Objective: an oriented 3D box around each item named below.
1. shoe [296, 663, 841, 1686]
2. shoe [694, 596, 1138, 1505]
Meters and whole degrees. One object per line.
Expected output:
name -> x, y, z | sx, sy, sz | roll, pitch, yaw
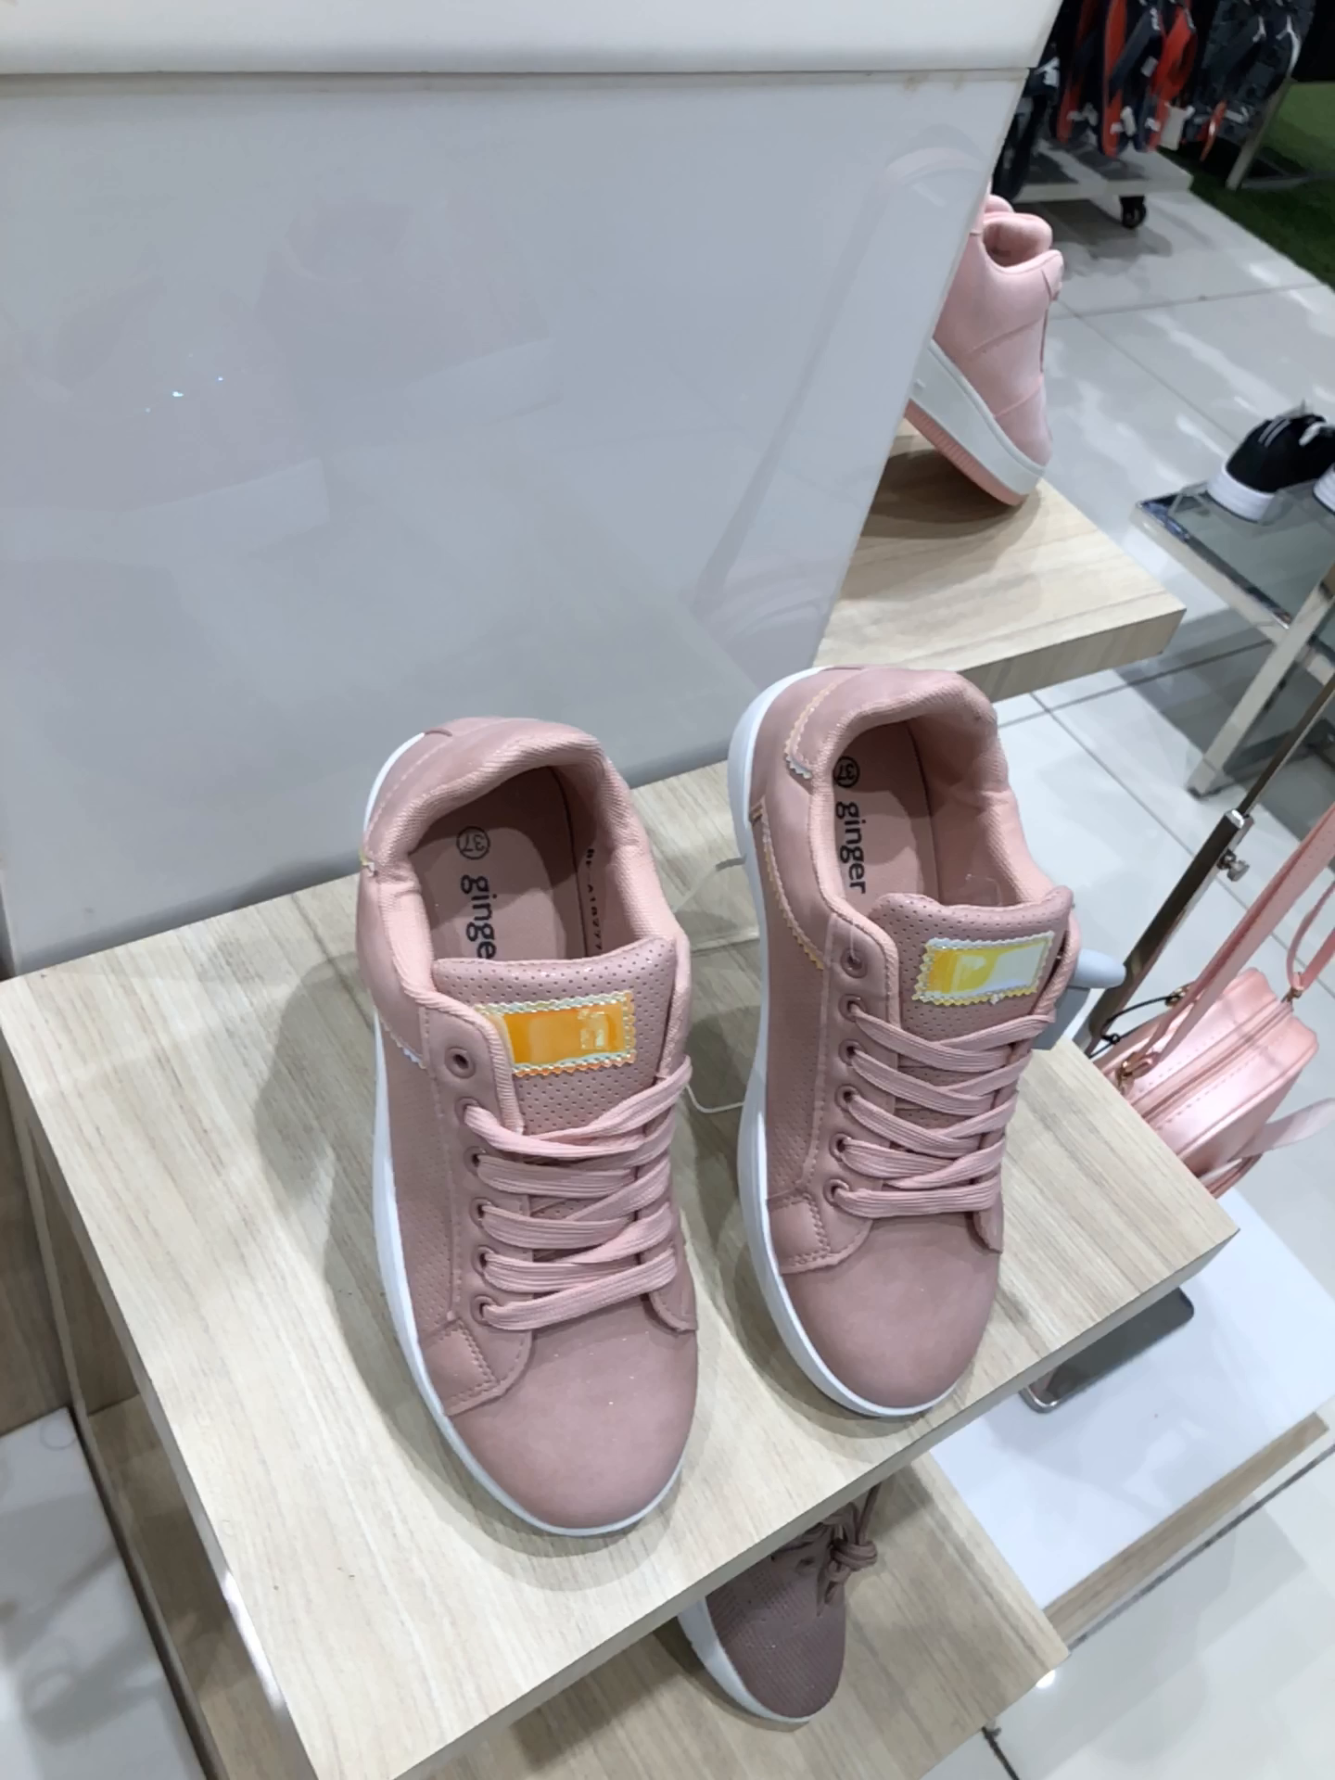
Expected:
shoe -> -0.033, 0.070, 0.434 | 0.103, 0.093, 0.252 | -8, 90, -22
shoe -> 0.076, 0.046, 0.487 | 0.100, 0.093, 0.261 | 0, 85, -20
